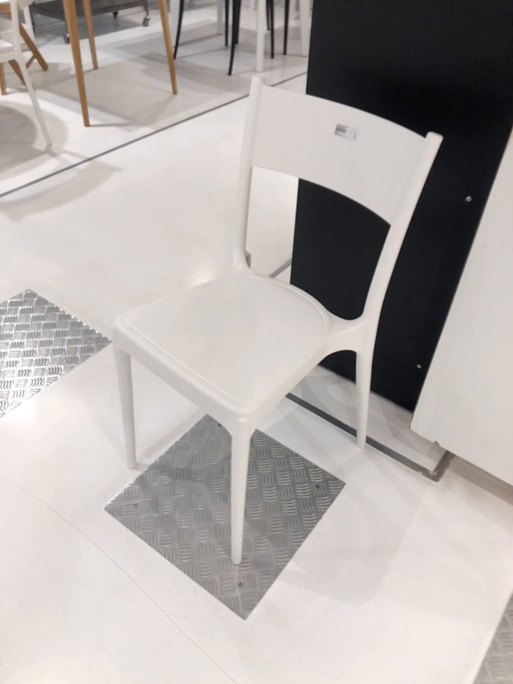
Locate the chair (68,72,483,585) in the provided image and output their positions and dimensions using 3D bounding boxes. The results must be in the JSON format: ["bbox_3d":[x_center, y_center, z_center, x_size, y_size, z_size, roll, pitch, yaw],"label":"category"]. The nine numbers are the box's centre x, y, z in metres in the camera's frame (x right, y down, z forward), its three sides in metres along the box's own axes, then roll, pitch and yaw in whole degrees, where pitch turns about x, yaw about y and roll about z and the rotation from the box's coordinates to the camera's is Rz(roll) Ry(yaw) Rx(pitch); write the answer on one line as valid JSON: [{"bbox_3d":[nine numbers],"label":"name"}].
[{"bbox_3d":[0.027,-0.021,1.100,0.411,0.764,0.483,32,48,29],"label":"chair"}]
